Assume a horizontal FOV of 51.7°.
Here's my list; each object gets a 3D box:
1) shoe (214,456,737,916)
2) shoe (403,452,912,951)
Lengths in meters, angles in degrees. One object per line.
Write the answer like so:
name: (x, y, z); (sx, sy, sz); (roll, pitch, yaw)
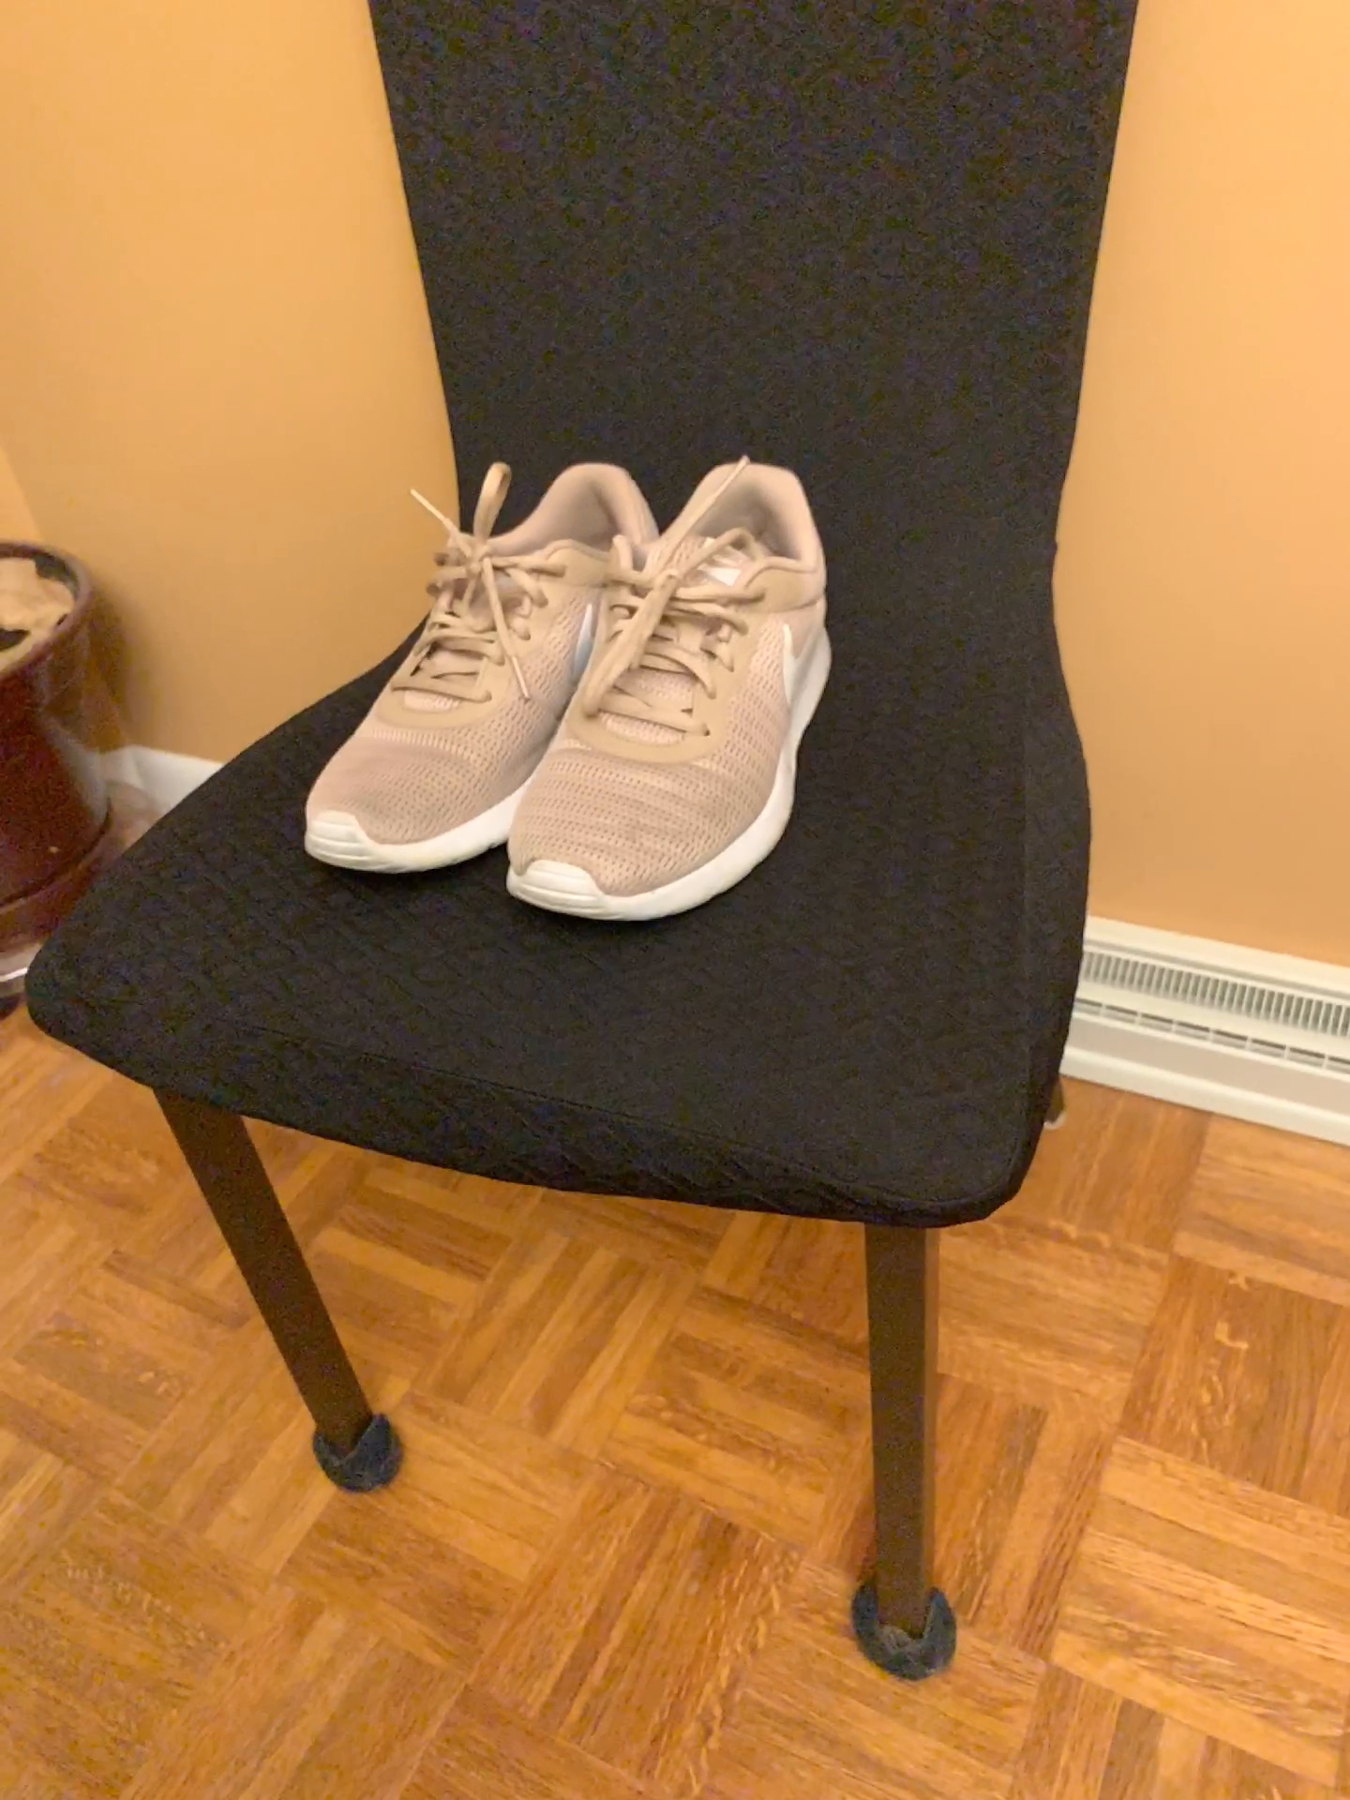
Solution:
shoe: (-0.080, -0.119, 0.684); (0.110, 0.089, 0.271); (12, 43, 25)
shoe: (0.009, -0.104, 0.622); (0.110, 0.089, 0.261); (12, 43, 25)
